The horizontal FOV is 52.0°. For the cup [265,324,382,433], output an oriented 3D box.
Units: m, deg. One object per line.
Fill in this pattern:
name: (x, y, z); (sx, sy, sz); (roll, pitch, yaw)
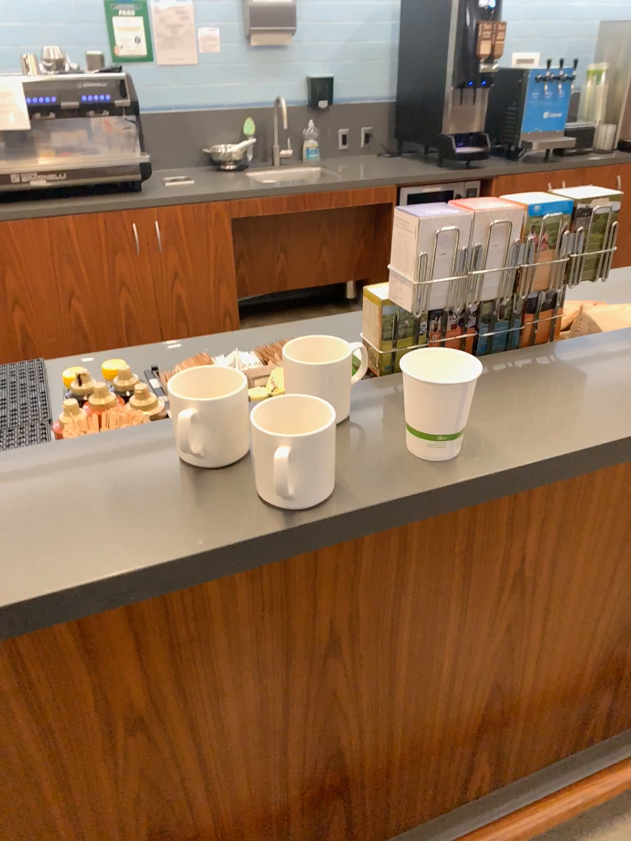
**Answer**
cup: (0.008, -0.054, 0.790); (0.120, 0.089, 0.091); (-7, 31, -11)

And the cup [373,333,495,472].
cup: (0.128, -0.023, 0.703); (0.090, 0.099, 0.100); (17, 35, 29)

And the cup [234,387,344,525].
cup: (-0.021, 0.031, 0.645); (0.090, 0.080, 0.121); (2, 30, 6)

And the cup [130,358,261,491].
cup: (-0.117, 0.000, 0.665); (0.090, 0.080, 0.121); (4, 31, 9)
